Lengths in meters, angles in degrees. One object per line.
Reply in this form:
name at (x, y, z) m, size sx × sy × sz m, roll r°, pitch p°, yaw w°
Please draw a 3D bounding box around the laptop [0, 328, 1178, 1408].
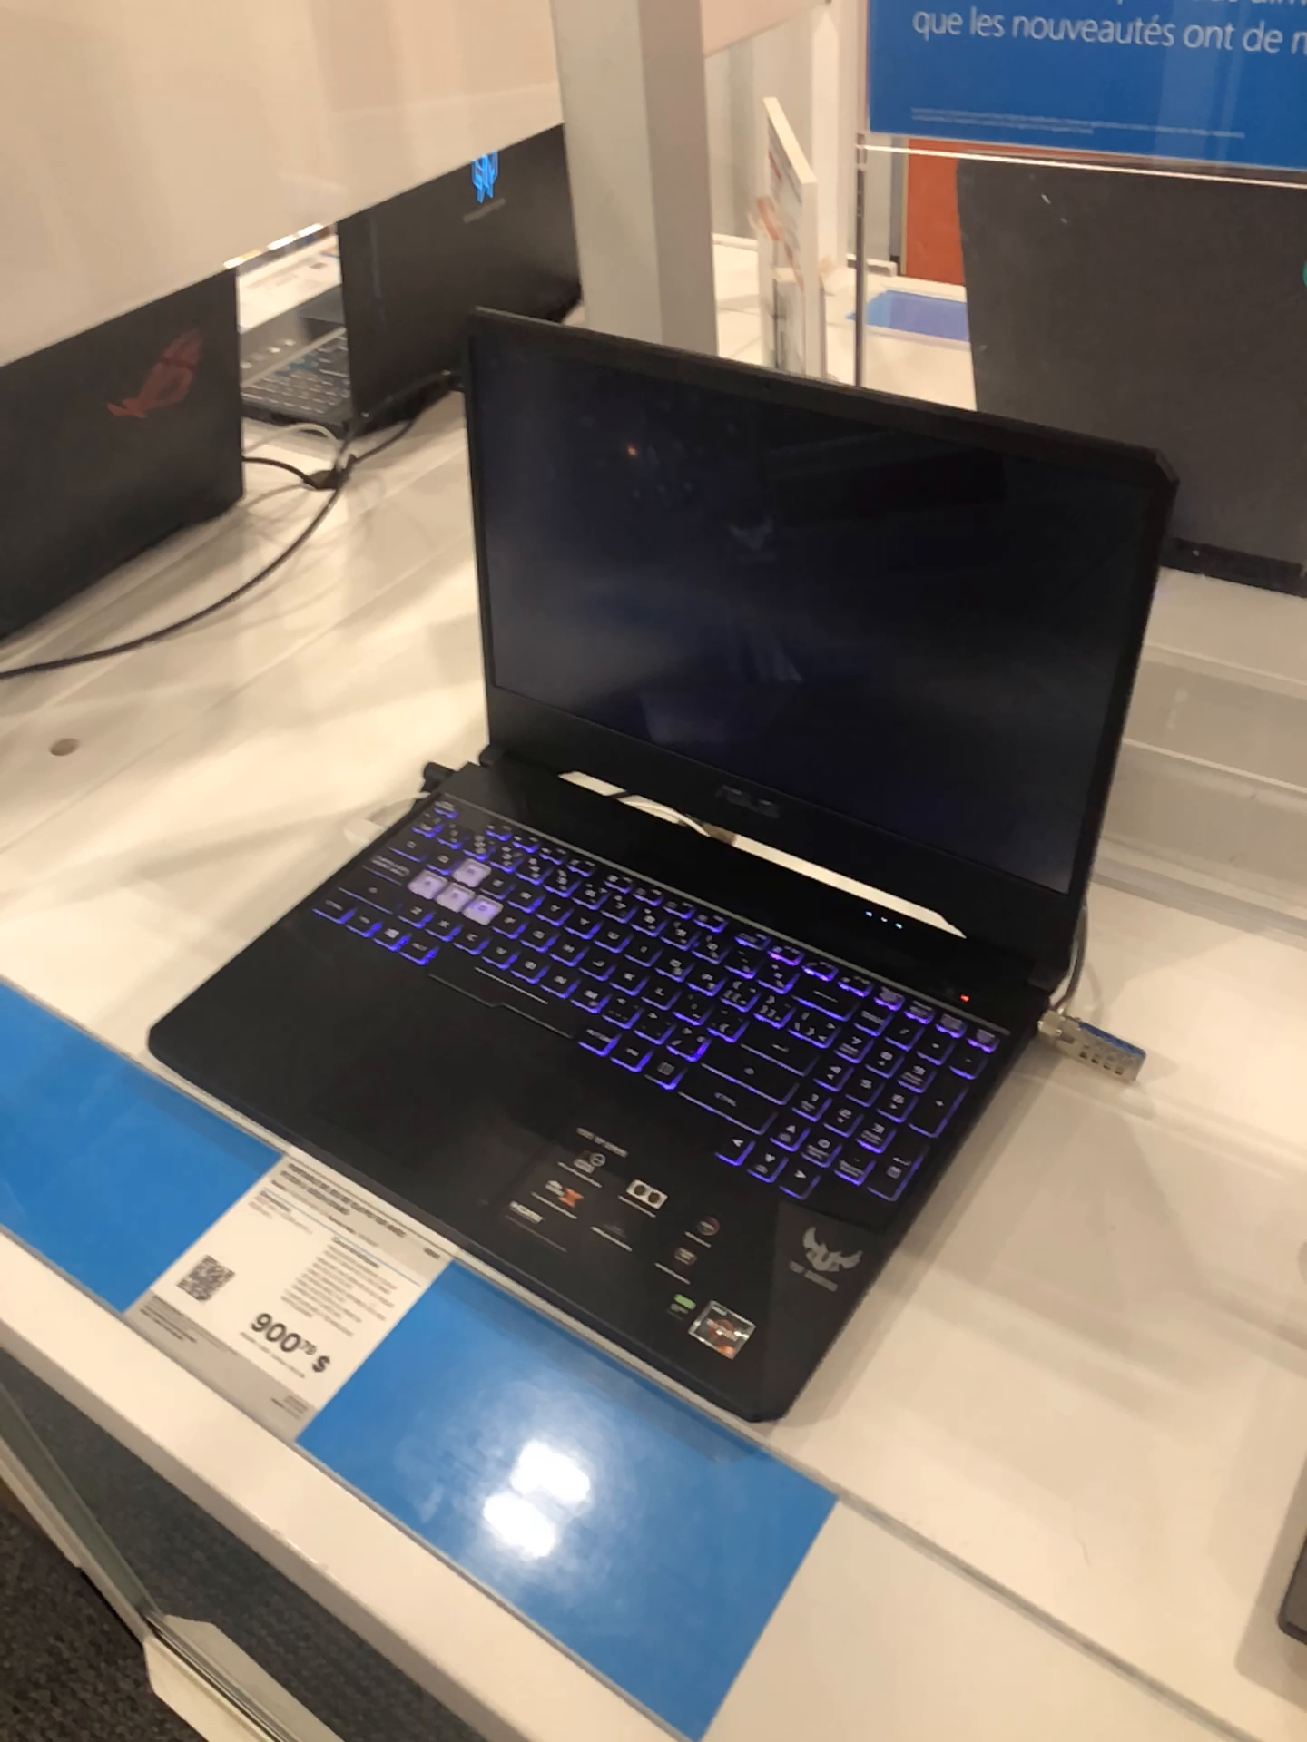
laptop at (-0.025, -0.035, 0.616) m, size 0.351 × 0.235 × 0.301 m, roll 22°, pitch 49°, yaw 28°
